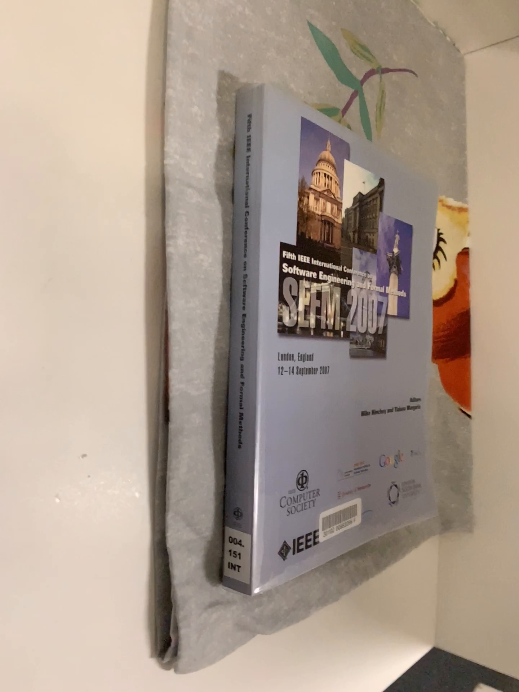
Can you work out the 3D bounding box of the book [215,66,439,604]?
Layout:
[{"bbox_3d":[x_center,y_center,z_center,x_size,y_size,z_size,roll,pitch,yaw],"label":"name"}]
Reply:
[{"bbox_3d":[0.061,-0.004,0.360,0.211,0.030,0.274,3,88,-49],"label":"book"}]
